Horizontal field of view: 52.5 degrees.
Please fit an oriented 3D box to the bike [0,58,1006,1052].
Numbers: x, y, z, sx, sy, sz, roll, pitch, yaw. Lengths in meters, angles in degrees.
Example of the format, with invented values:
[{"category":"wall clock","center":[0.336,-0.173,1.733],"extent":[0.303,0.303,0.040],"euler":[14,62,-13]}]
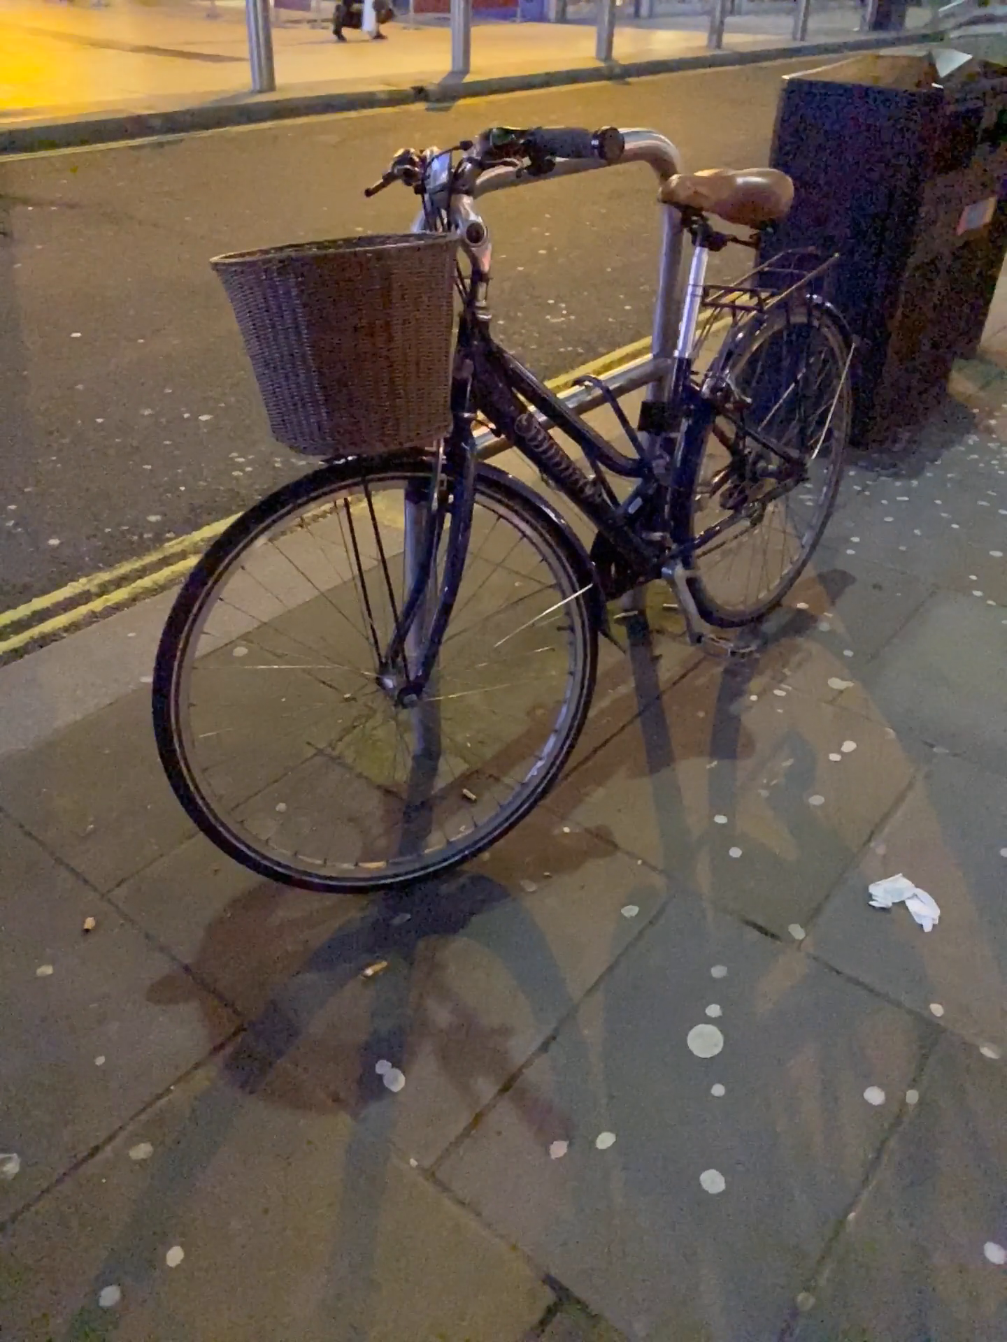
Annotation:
[{"category":"bike","center":[0.146,-0.385,1.835],"extent":[1.716,1.063,0.661],"euler":[-30,46,-34]}]
